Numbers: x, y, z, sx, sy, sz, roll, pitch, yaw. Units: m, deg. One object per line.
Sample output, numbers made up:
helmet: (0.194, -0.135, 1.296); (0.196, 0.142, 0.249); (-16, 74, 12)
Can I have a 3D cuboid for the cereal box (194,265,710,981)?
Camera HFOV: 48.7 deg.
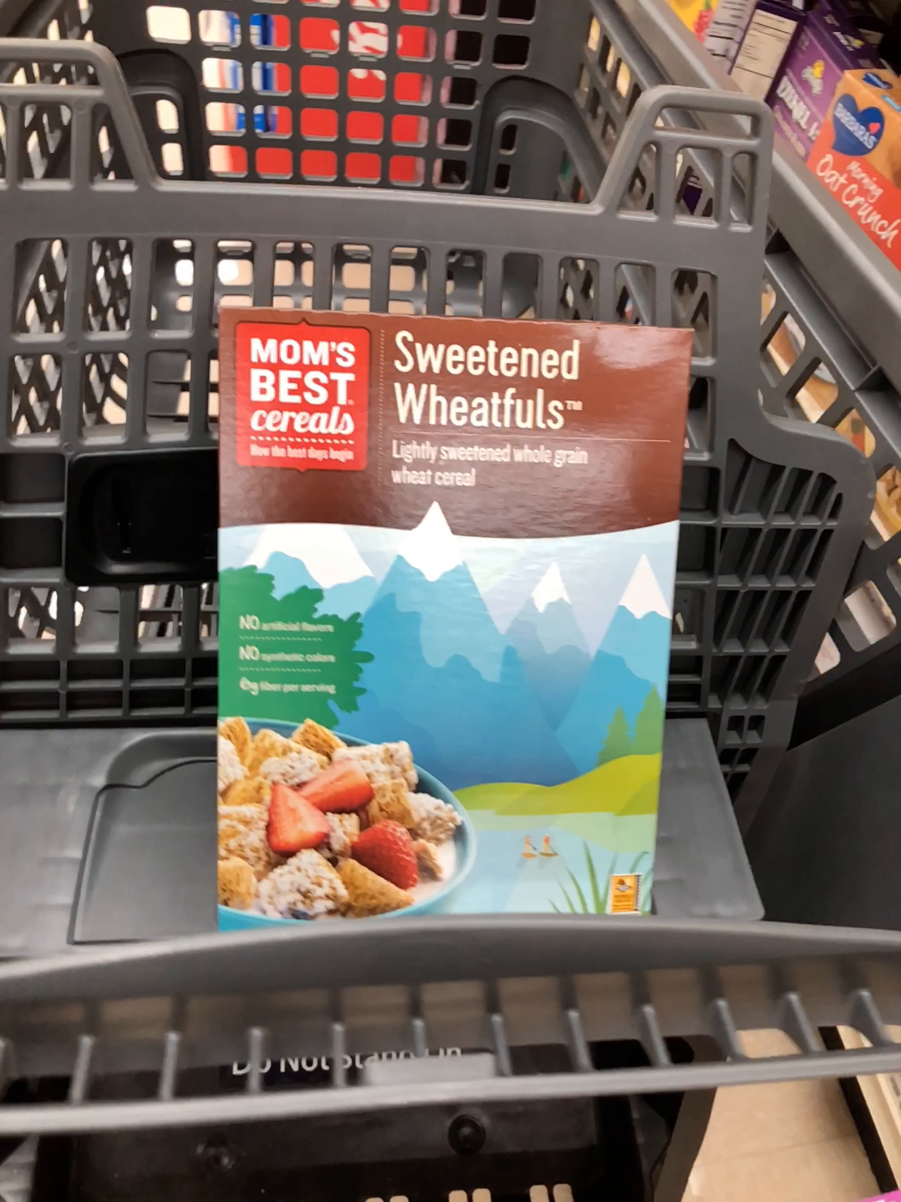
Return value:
cereal box: (-0.007, 0.013, 0.447); (0.200, 0.290, 0.080); (1, 10, -6)
